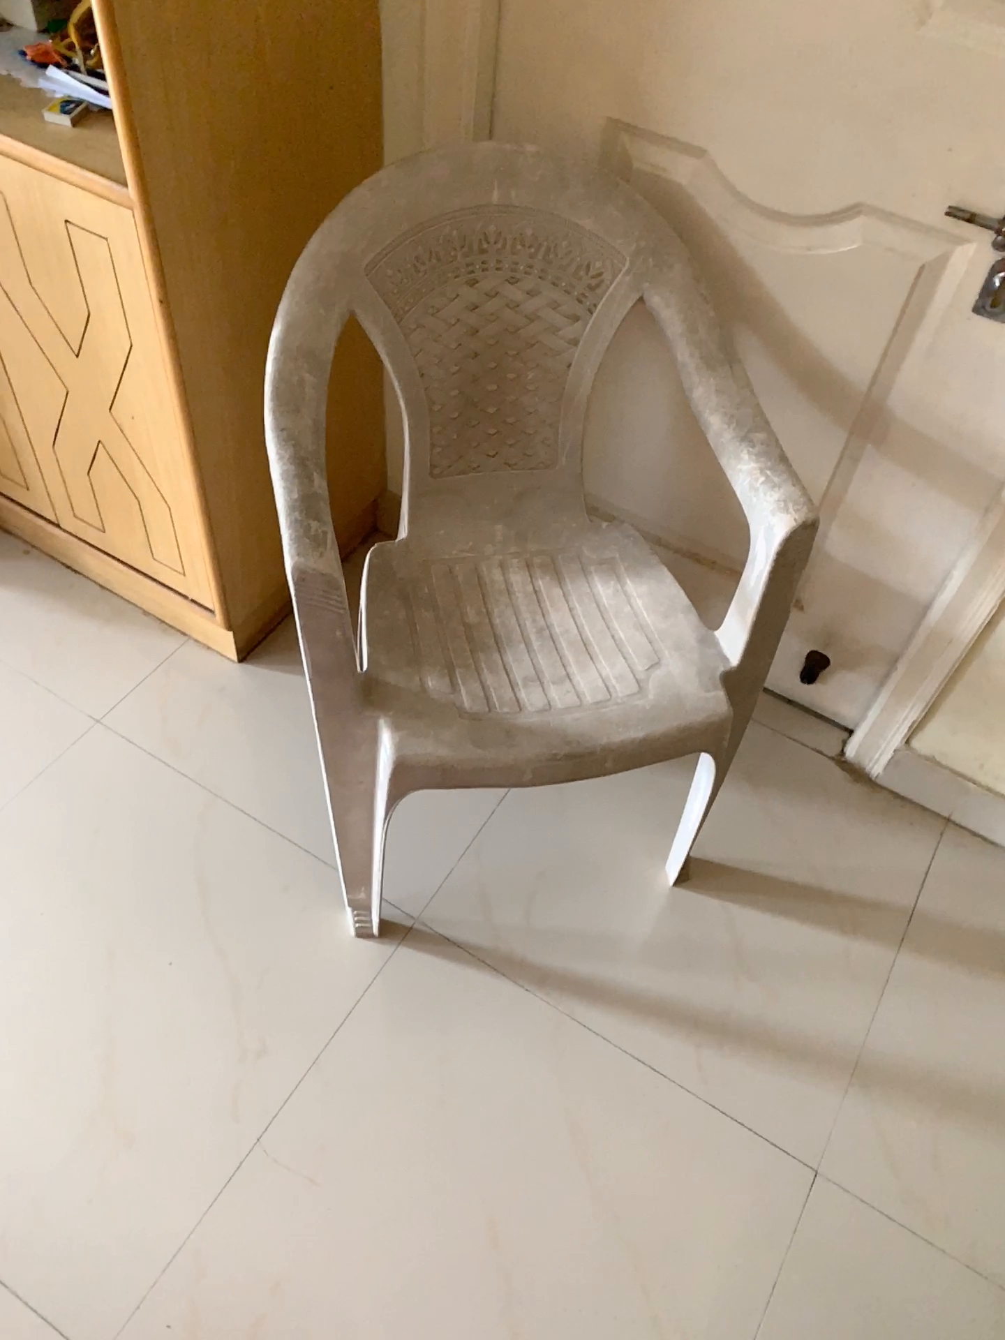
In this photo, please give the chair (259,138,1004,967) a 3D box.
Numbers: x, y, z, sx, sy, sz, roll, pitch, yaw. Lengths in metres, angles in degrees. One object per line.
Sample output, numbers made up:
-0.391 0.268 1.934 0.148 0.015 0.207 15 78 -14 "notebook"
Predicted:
0.050 -0.135 1.284 0.610 0.725 0.675 -4 51 -10 "chair"
